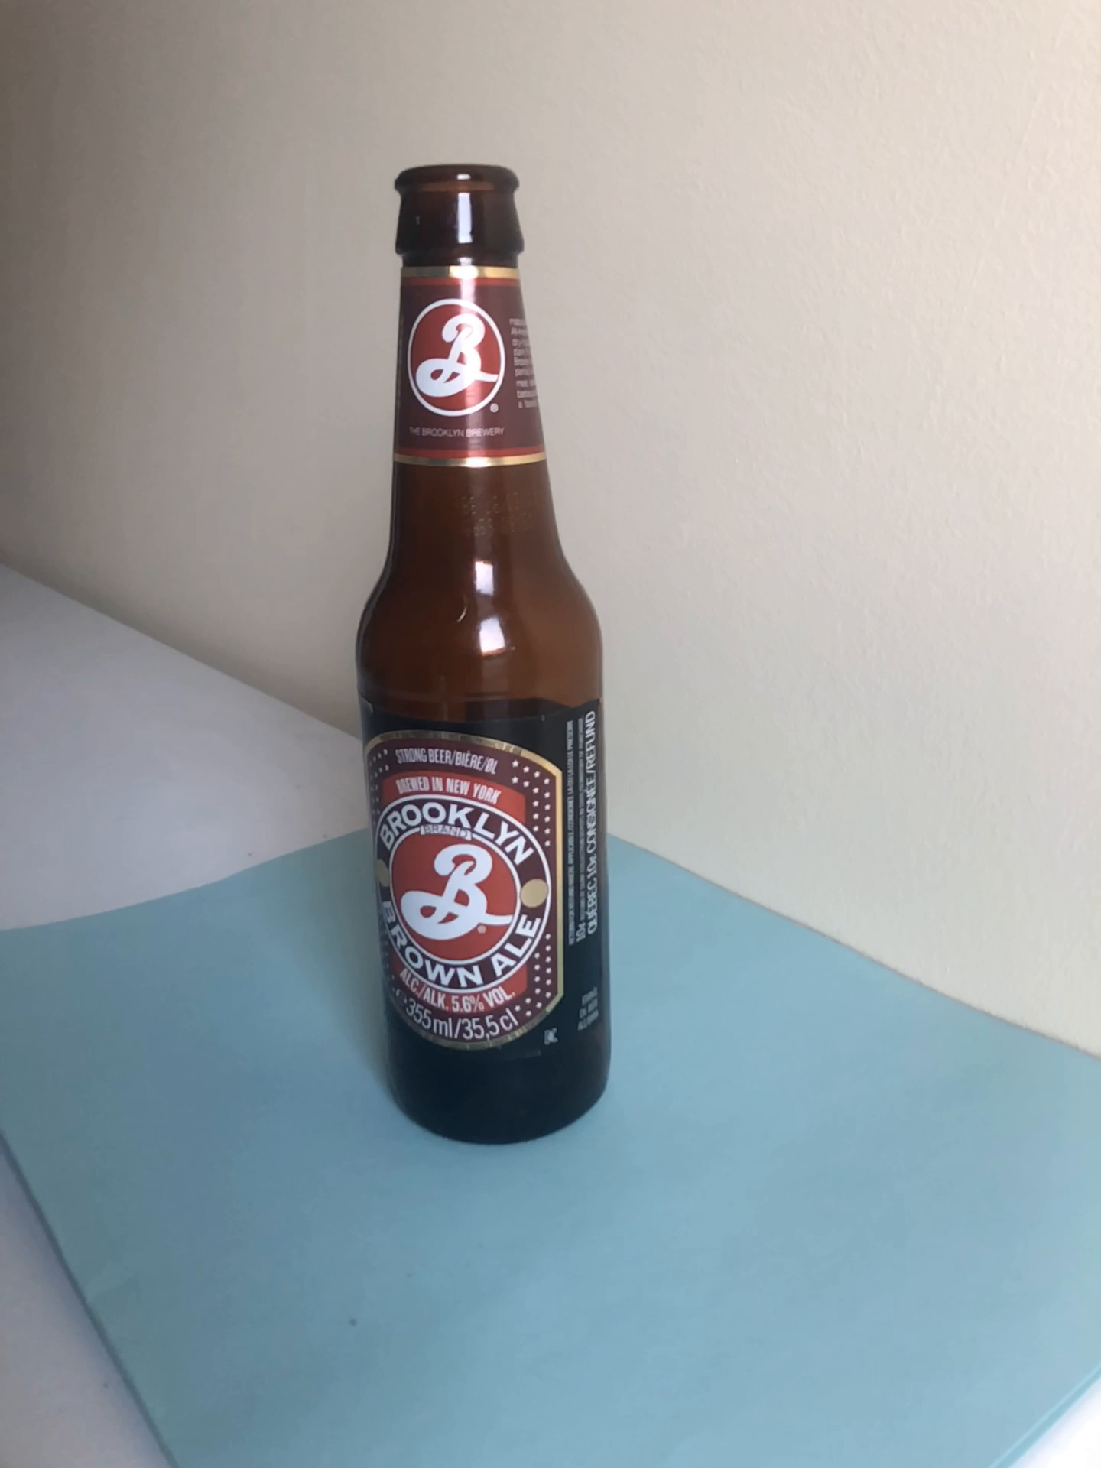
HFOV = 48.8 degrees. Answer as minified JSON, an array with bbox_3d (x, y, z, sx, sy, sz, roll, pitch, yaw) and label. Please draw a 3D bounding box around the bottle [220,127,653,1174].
[{"bbox_3d":[-0.017,-0.016,0.298,0.070,0.229,0.070,-2,19,1],"label":"bottle"}]
